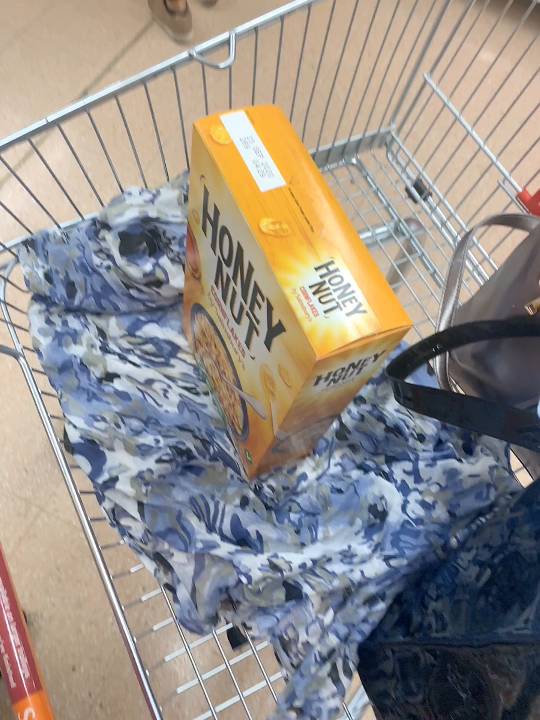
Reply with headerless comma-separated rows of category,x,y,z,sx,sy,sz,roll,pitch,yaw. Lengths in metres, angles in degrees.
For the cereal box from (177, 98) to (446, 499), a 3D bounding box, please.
cereal box,-0.001,-0.024,0.483,0.080,0.299,0.211,-20,69,-19
